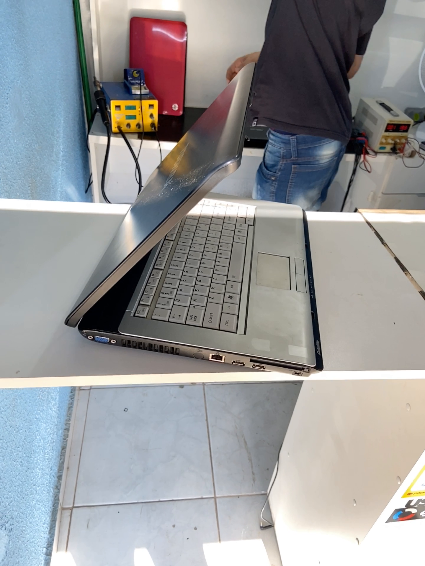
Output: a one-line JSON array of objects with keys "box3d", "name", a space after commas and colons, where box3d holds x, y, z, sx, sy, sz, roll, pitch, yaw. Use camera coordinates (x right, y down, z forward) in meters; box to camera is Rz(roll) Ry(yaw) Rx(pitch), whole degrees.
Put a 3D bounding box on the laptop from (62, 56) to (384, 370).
[{"box3d": [0.022, -0.115, 0.530, 0.245, 0.202, 0.353, 9, 37, 2], "name": "laptop"}]
